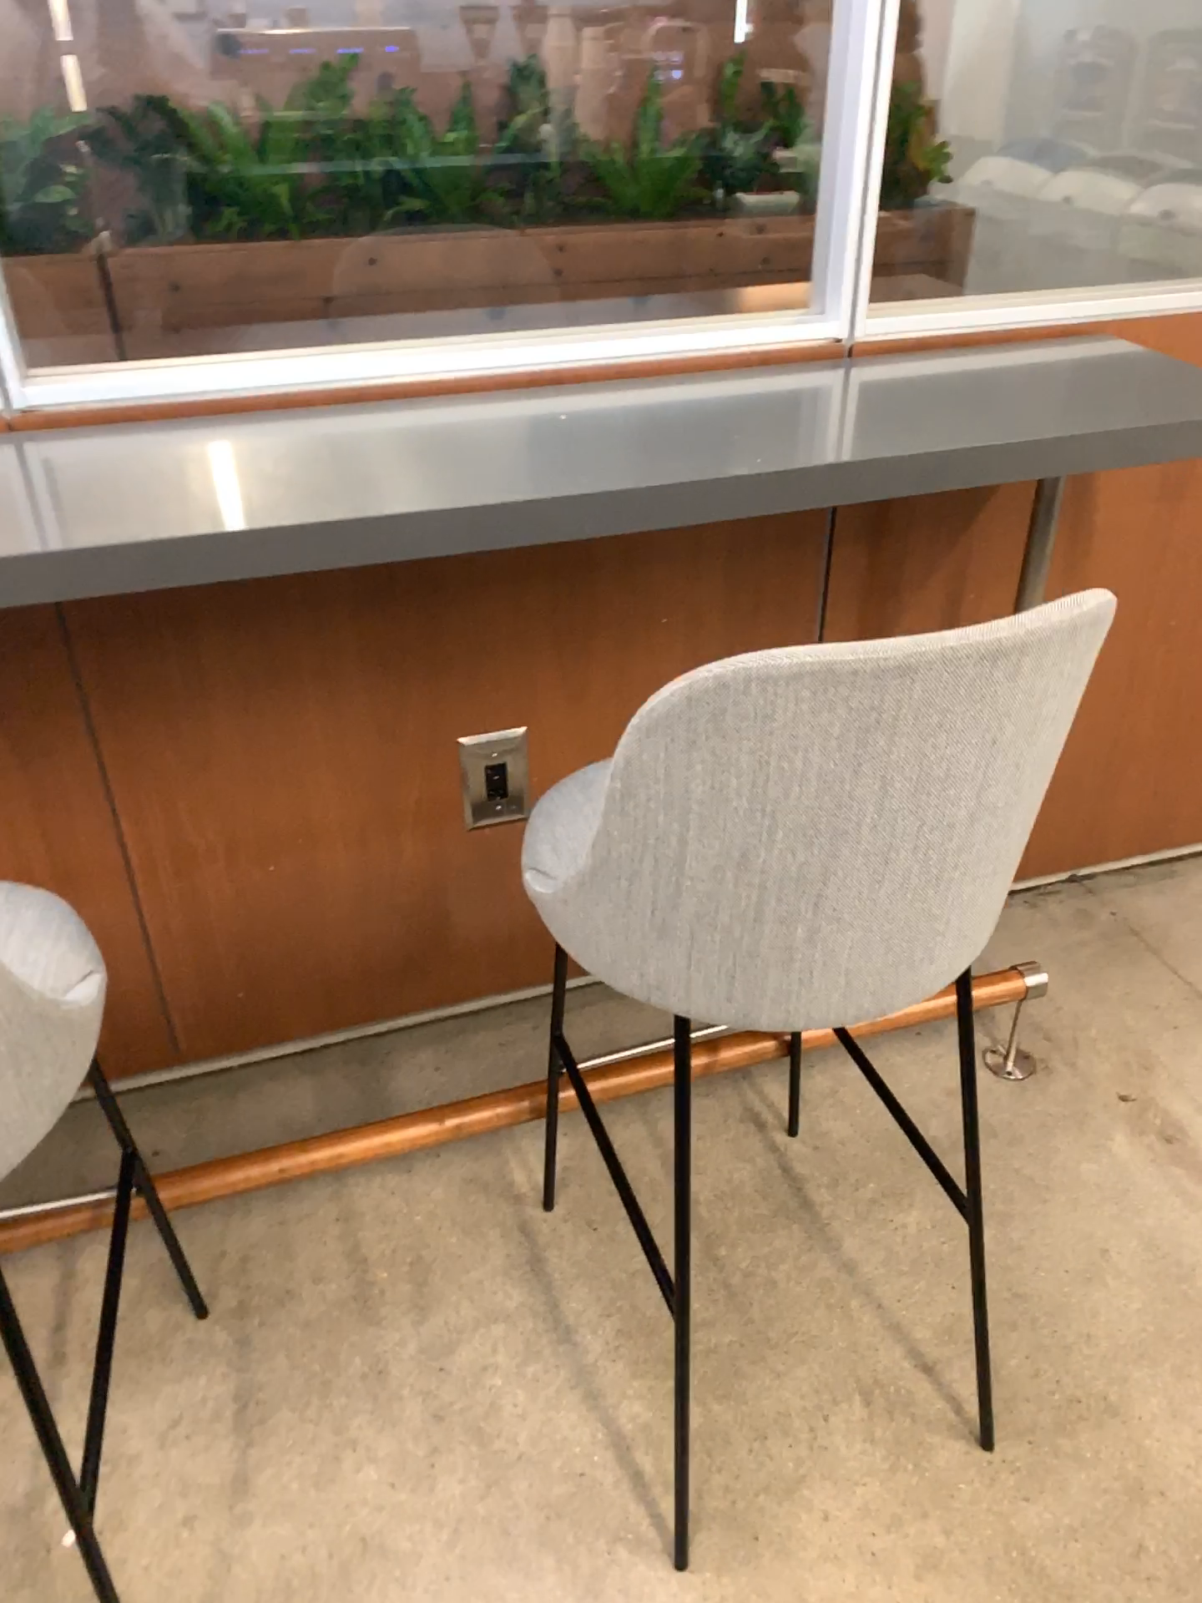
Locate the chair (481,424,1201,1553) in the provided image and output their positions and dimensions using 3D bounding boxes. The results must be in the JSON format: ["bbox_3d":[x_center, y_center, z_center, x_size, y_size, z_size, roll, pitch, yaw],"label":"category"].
[{"bbox_3d":[0.182,0.207,1.318,0.410,1.034,0.513,-15,35,-21],"label":"chair"}]
